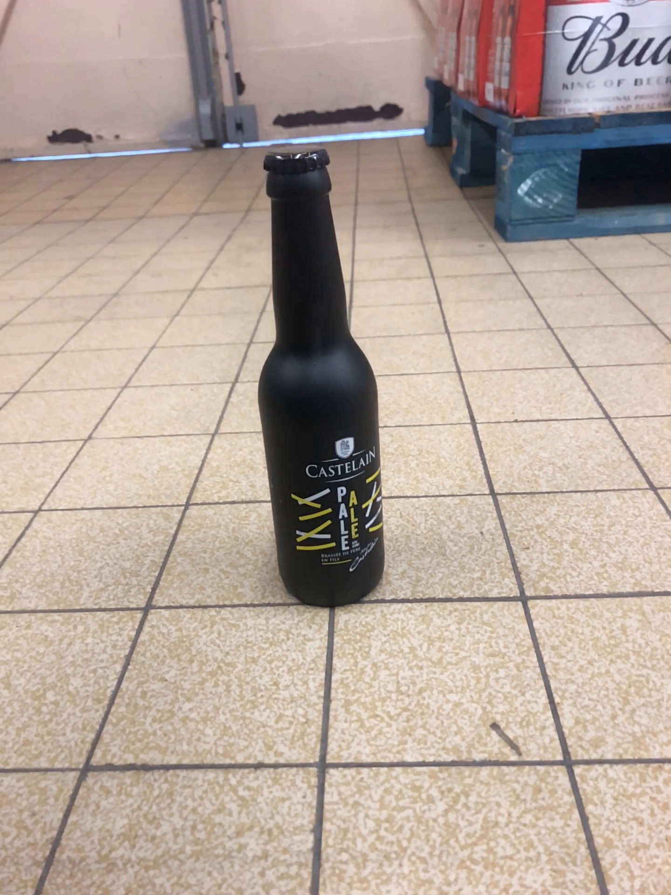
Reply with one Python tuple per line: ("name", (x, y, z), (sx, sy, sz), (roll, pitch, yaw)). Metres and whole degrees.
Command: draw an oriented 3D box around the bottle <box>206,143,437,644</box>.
("bottle", (-0.001, -0.023, 0.356), (0.070, 0.219, 0.070), (-3, 27, 2))
